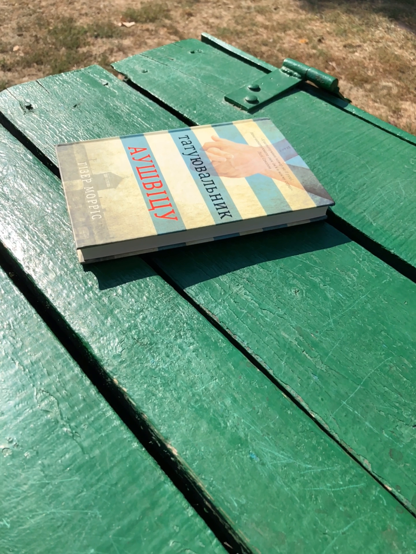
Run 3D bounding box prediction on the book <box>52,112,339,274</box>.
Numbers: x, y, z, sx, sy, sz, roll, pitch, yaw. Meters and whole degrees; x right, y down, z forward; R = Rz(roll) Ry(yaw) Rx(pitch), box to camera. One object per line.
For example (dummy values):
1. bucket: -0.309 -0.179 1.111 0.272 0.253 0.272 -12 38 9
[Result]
1. book: -0.017 -0.085 0.401 0.213 0.020 0.148 -12 51 -14
